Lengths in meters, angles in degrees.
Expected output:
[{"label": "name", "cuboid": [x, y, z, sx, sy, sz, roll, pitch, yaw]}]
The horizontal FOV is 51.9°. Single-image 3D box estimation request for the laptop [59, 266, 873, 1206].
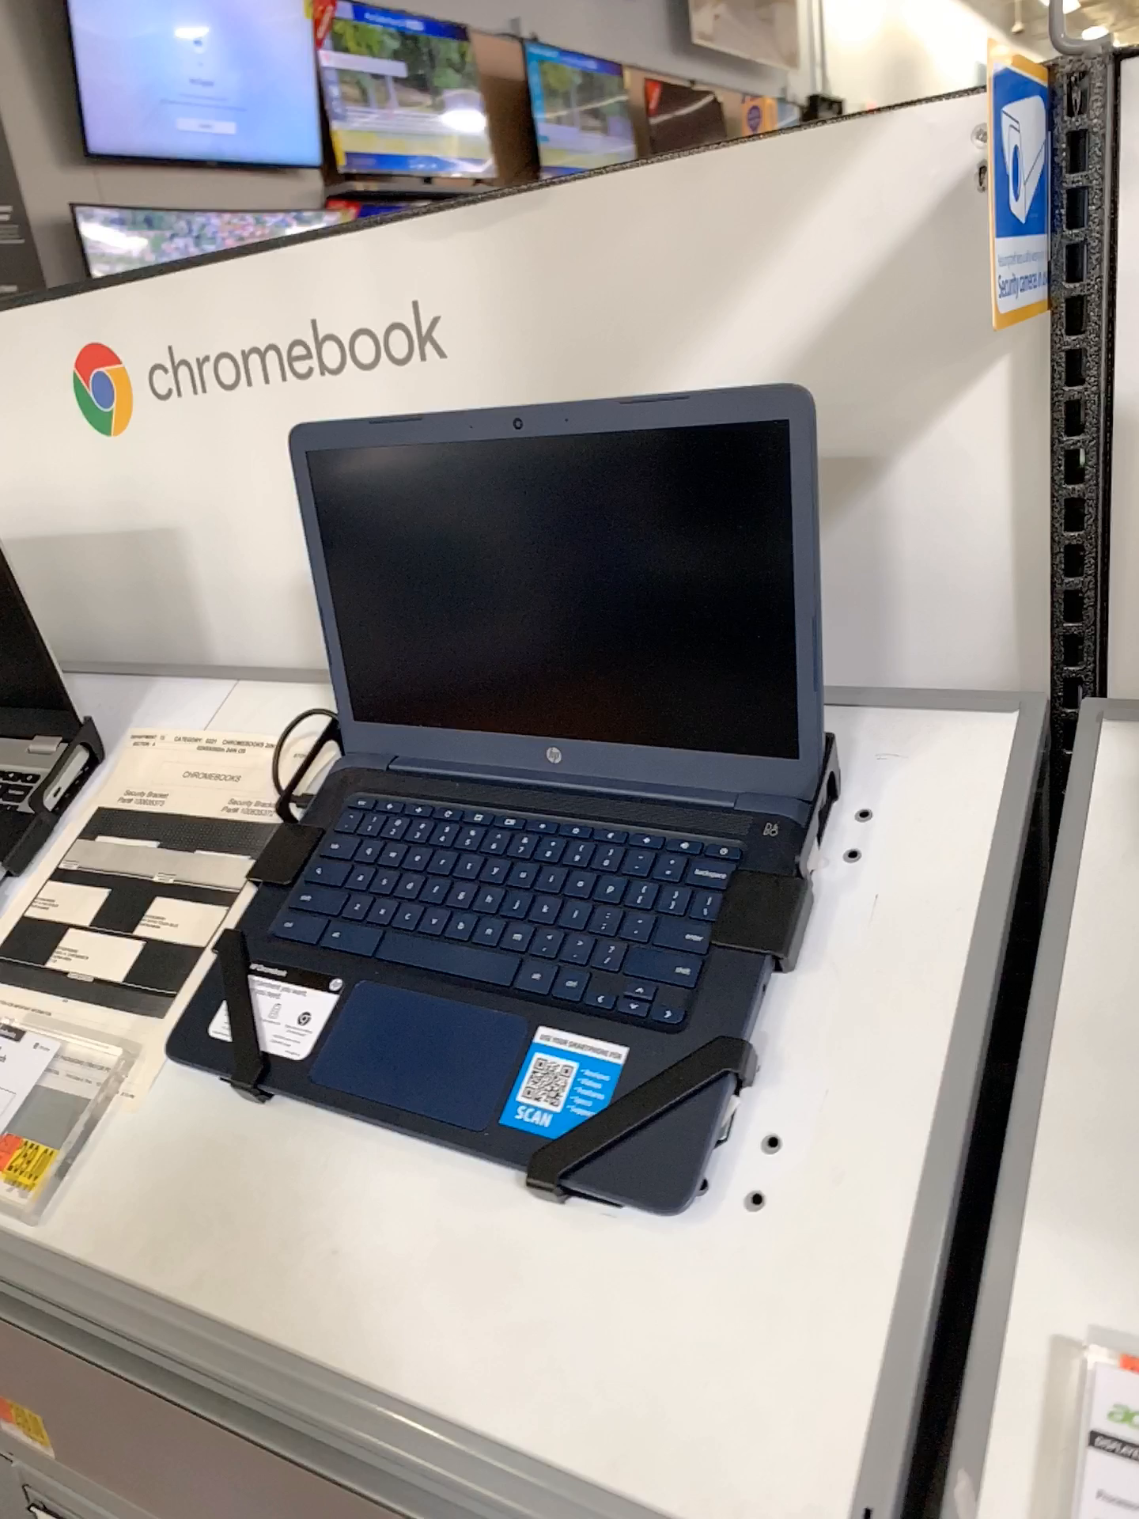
[{"label": "laptop", "cuboid": [-0.043, -0.042, 0.626, 0.318, 0.189, 0.323, 5, 45, 31]}]
